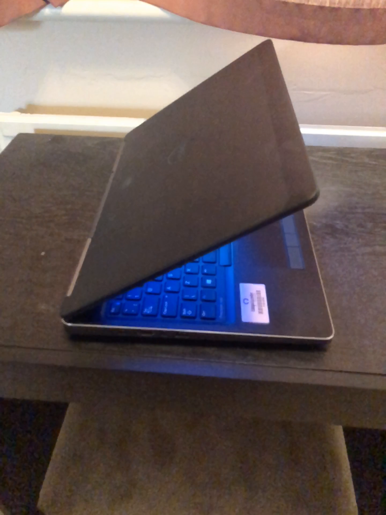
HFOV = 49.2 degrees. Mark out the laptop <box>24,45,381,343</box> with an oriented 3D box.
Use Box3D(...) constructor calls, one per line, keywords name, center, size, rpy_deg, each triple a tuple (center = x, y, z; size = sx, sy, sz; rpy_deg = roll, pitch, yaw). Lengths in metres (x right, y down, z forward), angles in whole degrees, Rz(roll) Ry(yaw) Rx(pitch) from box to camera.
Box3D(name="laptop", center=(0.012, -0.106, 0.465), size=(0.243, 0.134, 0.365), rpy_deg=(3, 42, 3))
